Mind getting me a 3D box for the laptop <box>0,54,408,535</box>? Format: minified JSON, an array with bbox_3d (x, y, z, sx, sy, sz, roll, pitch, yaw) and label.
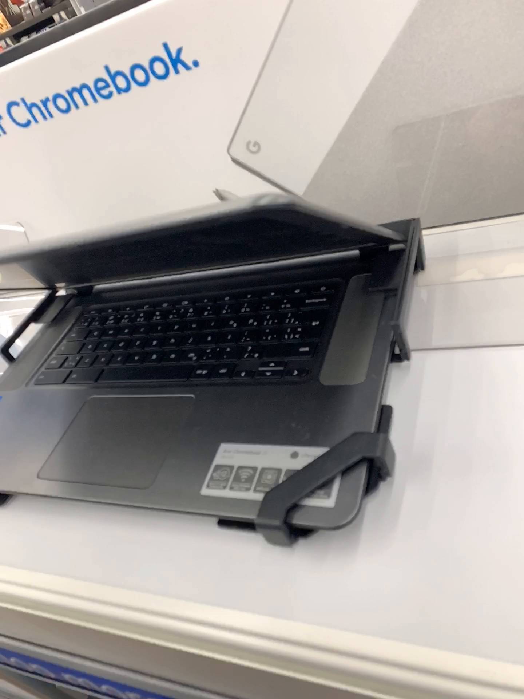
[{"bbox_3d":[-0.092,-0.031,0.311,0.303,0.119,0.197,-3,43,28],"label":"laptop"}]
